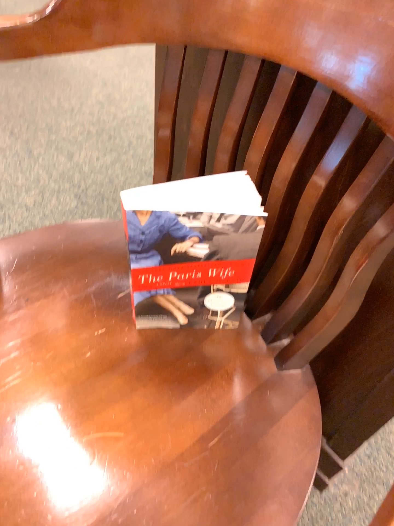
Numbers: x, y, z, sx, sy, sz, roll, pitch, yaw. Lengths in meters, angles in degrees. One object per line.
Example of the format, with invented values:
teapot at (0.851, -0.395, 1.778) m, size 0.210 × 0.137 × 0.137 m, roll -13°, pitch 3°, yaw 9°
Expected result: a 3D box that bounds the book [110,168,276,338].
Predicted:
book at (-0.015, -0.003, 0.459) m, size 0.150 × 0.199 × 0.072 m, roll -3°, pitch 49°, yaw -10°
